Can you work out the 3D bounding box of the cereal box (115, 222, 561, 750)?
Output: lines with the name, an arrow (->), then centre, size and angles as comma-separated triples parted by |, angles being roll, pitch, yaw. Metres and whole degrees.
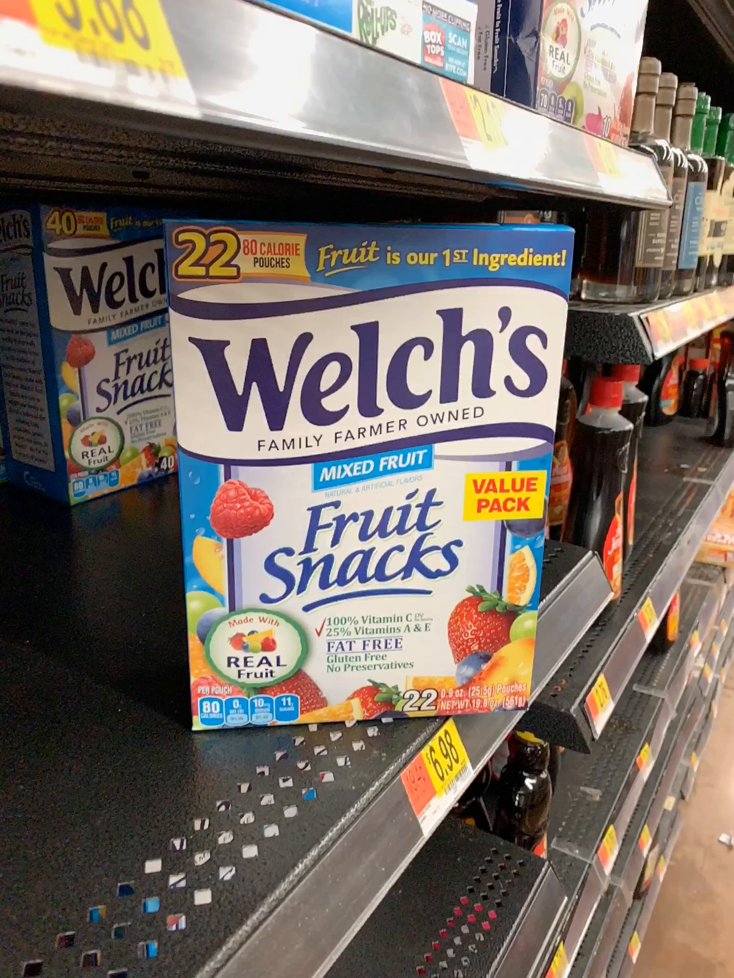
cereal box -> -0.012, -0.002, 0.351 | 0.170, 0.229, 0.060 | -2, 18, -7
